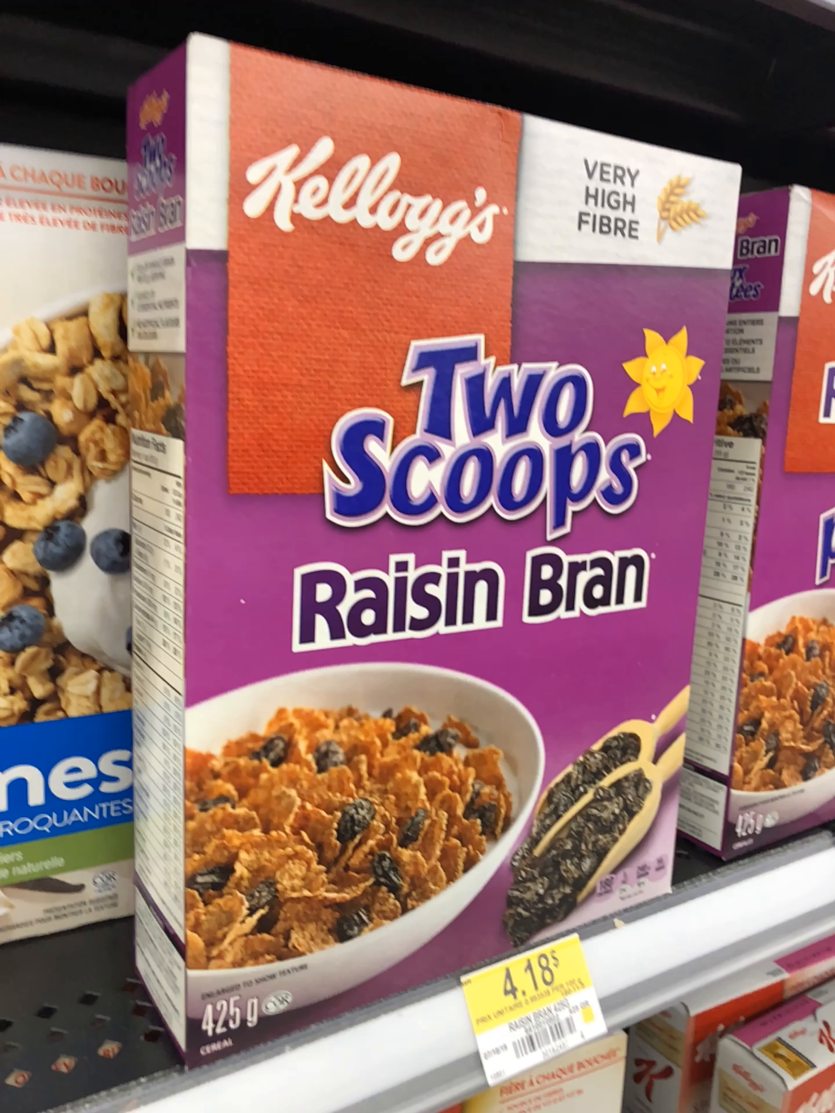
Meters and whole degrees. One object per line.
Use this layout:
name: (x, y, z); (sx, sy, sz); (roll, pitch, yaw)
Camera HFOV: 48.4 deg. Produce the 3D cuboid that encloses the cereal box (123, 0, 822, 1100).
cereal box: (0.017, 0.001, 0.287); (0.200, 0.269, 0.050); (-3, 12, -27)
